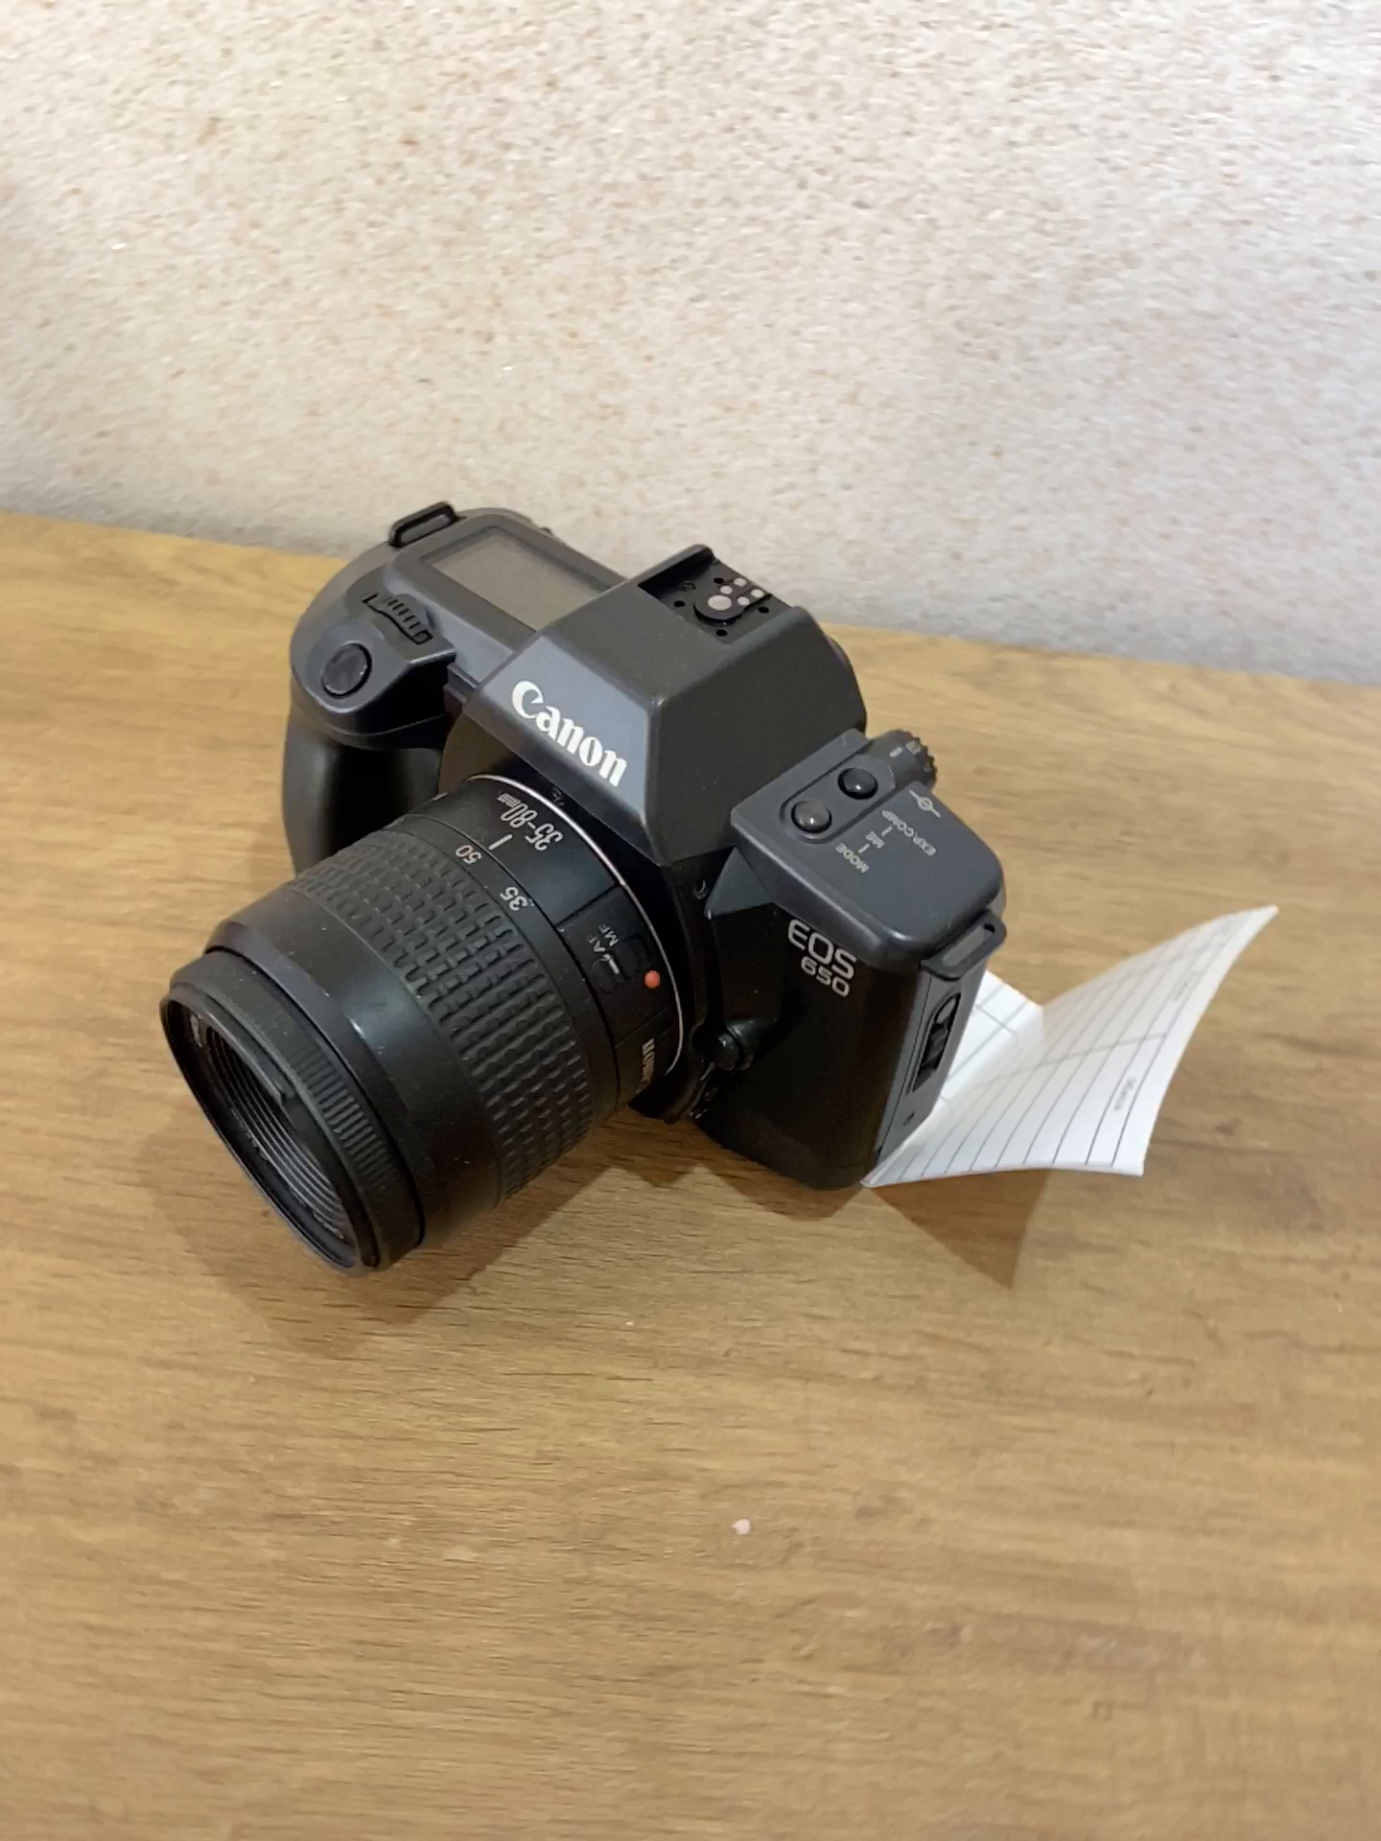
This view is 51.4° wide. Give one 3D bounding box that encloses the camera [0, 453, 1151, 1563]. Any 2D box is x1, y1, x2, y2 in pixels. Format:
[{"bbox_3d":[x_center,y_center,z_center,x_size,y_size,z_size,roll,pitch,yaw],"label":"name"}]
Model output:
[{"bbox_3d":[-0.022,0.003,0.278,0.140,0.099,0.141,35,51,26],"label":"camera"}]
